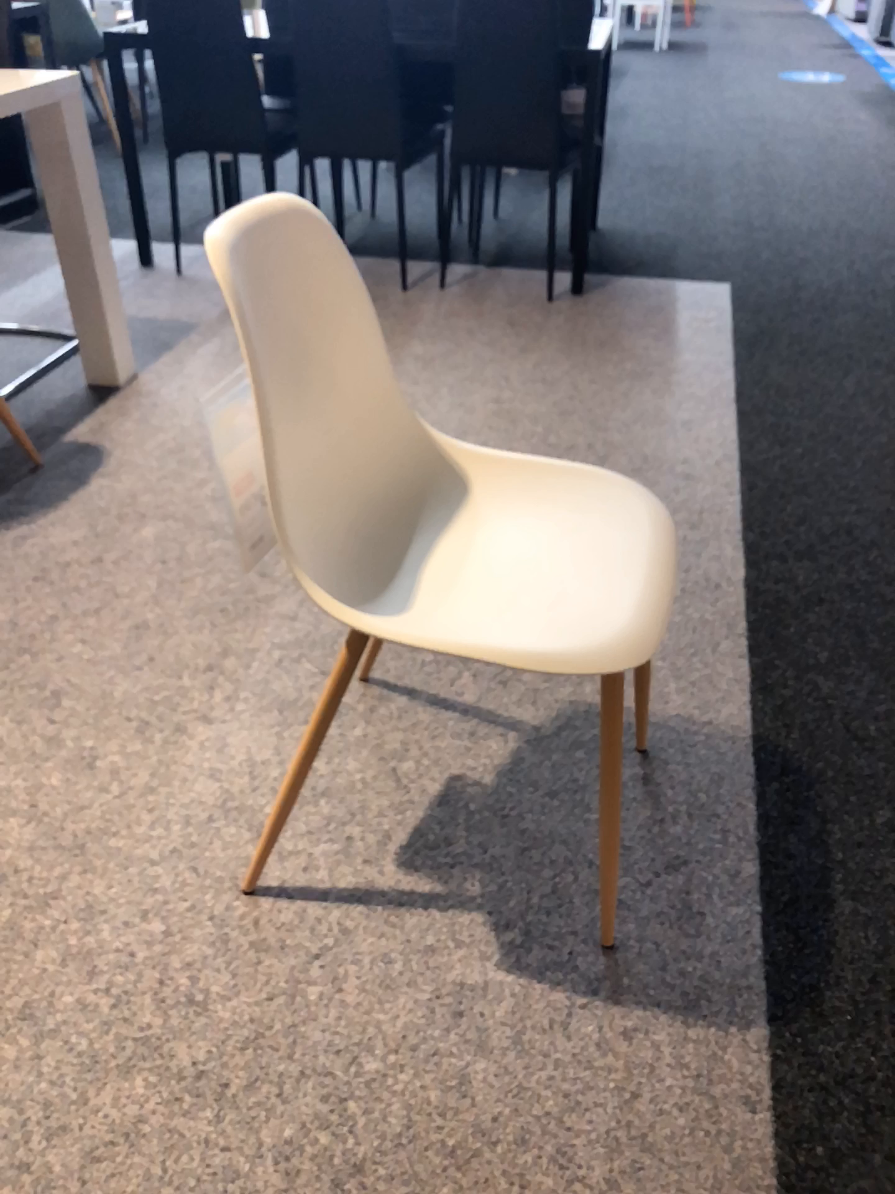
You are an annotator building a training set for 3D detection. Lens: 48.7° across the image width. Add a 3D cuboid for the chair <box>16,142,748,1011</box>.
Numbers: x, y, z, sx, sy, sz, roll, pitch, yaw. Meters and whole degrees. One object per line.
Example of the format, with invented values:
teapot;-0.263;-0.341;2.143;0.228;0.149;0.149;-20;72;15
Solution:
chair;-0.009;-0.050;1.256;0.599;0.845;0.574;9;35;13
